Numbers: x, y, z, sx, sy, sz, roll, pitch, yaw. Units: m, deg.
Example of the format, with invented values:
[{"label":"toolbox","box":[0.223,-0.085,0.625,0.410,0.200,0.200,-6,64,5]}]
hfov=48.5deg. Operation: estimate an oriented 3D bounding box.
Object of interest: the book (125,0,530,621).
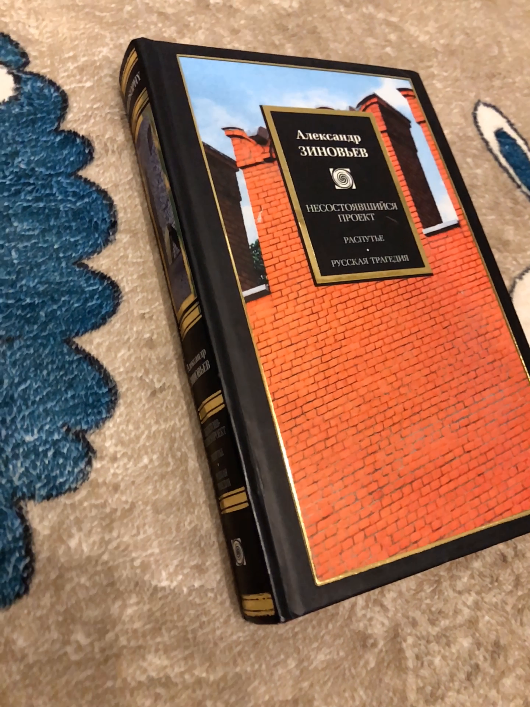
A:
[{"label":"book","box":[0.038,-0.030,0.226,0.141,0.040,0.210,-6,71,-26]}]
